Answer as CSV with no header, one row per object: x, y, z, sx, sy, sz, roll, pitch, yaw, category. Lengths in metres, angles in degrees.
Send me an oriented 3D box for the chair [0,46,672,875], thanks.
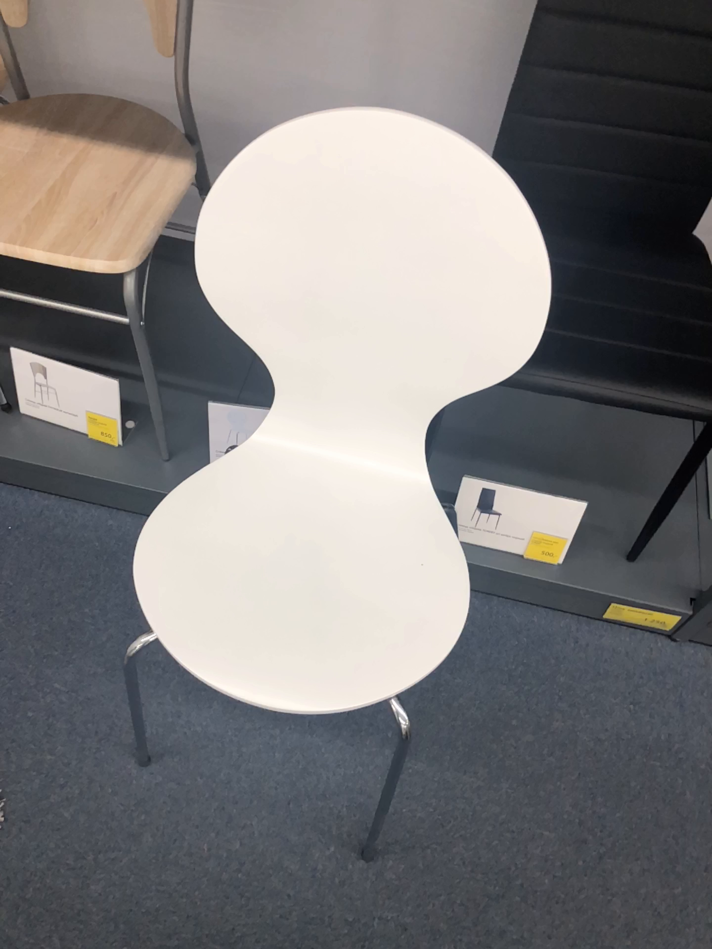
-0.067,0.085,1.023,0.560,0.898,0.542,17,56,5,chair
